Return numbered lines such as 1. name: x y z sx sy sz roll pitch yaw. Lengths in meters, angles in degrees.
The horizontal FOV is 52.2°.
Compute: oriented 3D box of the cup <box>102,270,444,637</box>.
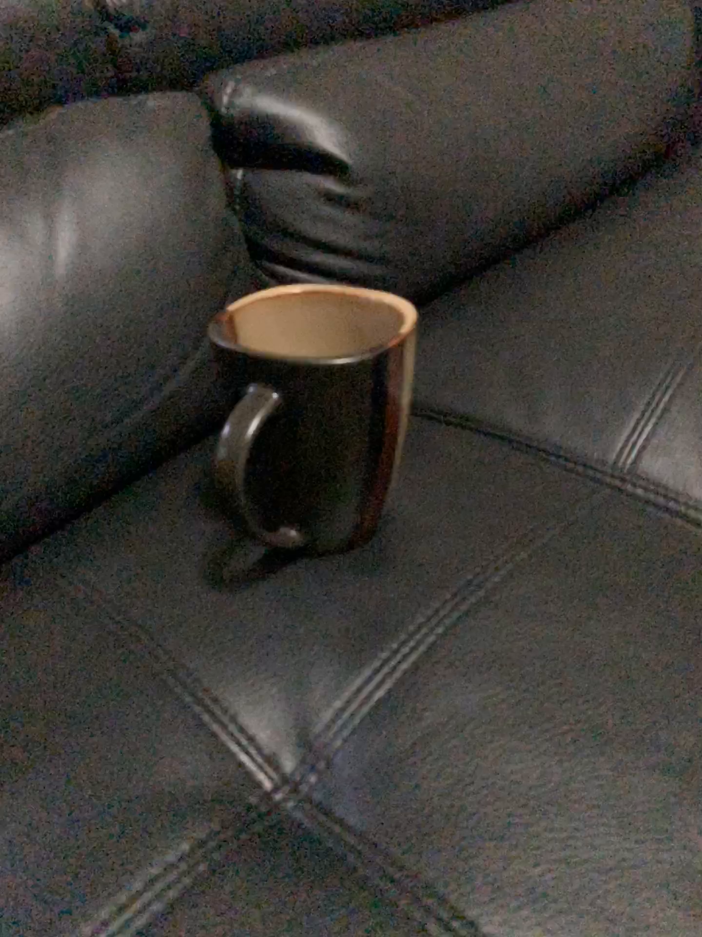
1. cup: -0.029 -0.018 0.360 0.098 0.109 0.139 17 37 23
